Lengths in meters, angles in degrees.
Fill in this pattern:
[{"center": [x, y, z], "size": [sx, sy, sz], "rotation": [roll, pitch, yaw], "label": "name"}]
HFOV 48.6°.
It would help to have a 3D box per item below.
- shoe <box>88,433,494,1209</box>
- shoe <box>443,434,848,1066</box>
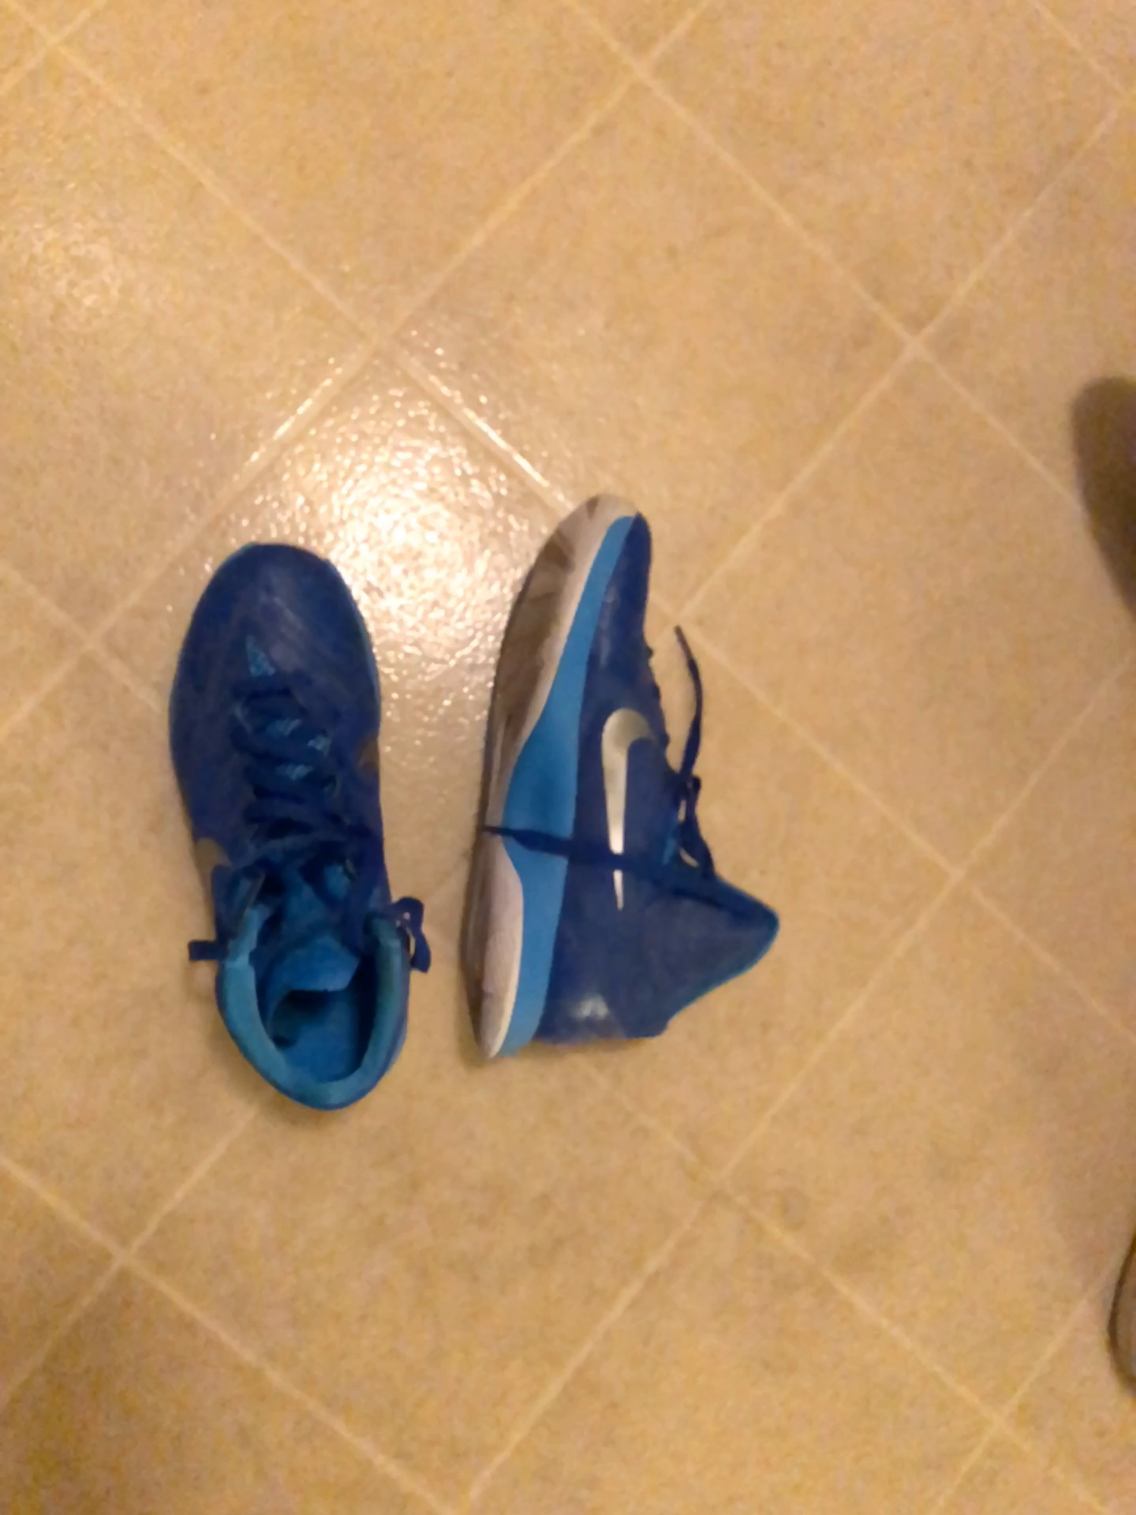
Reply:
[{"center": [-0.128, 0.025, 0.600], "size": [0.120, 0.145, 0.310], "rotation": [-9, 90, -11], "label": "shoe"}, {"center": [0.035, 0.002, 0.638], "size": [0.159, 0.120, 0.281], "rotation": [4, 87, -16], "label": "shoe"}]
